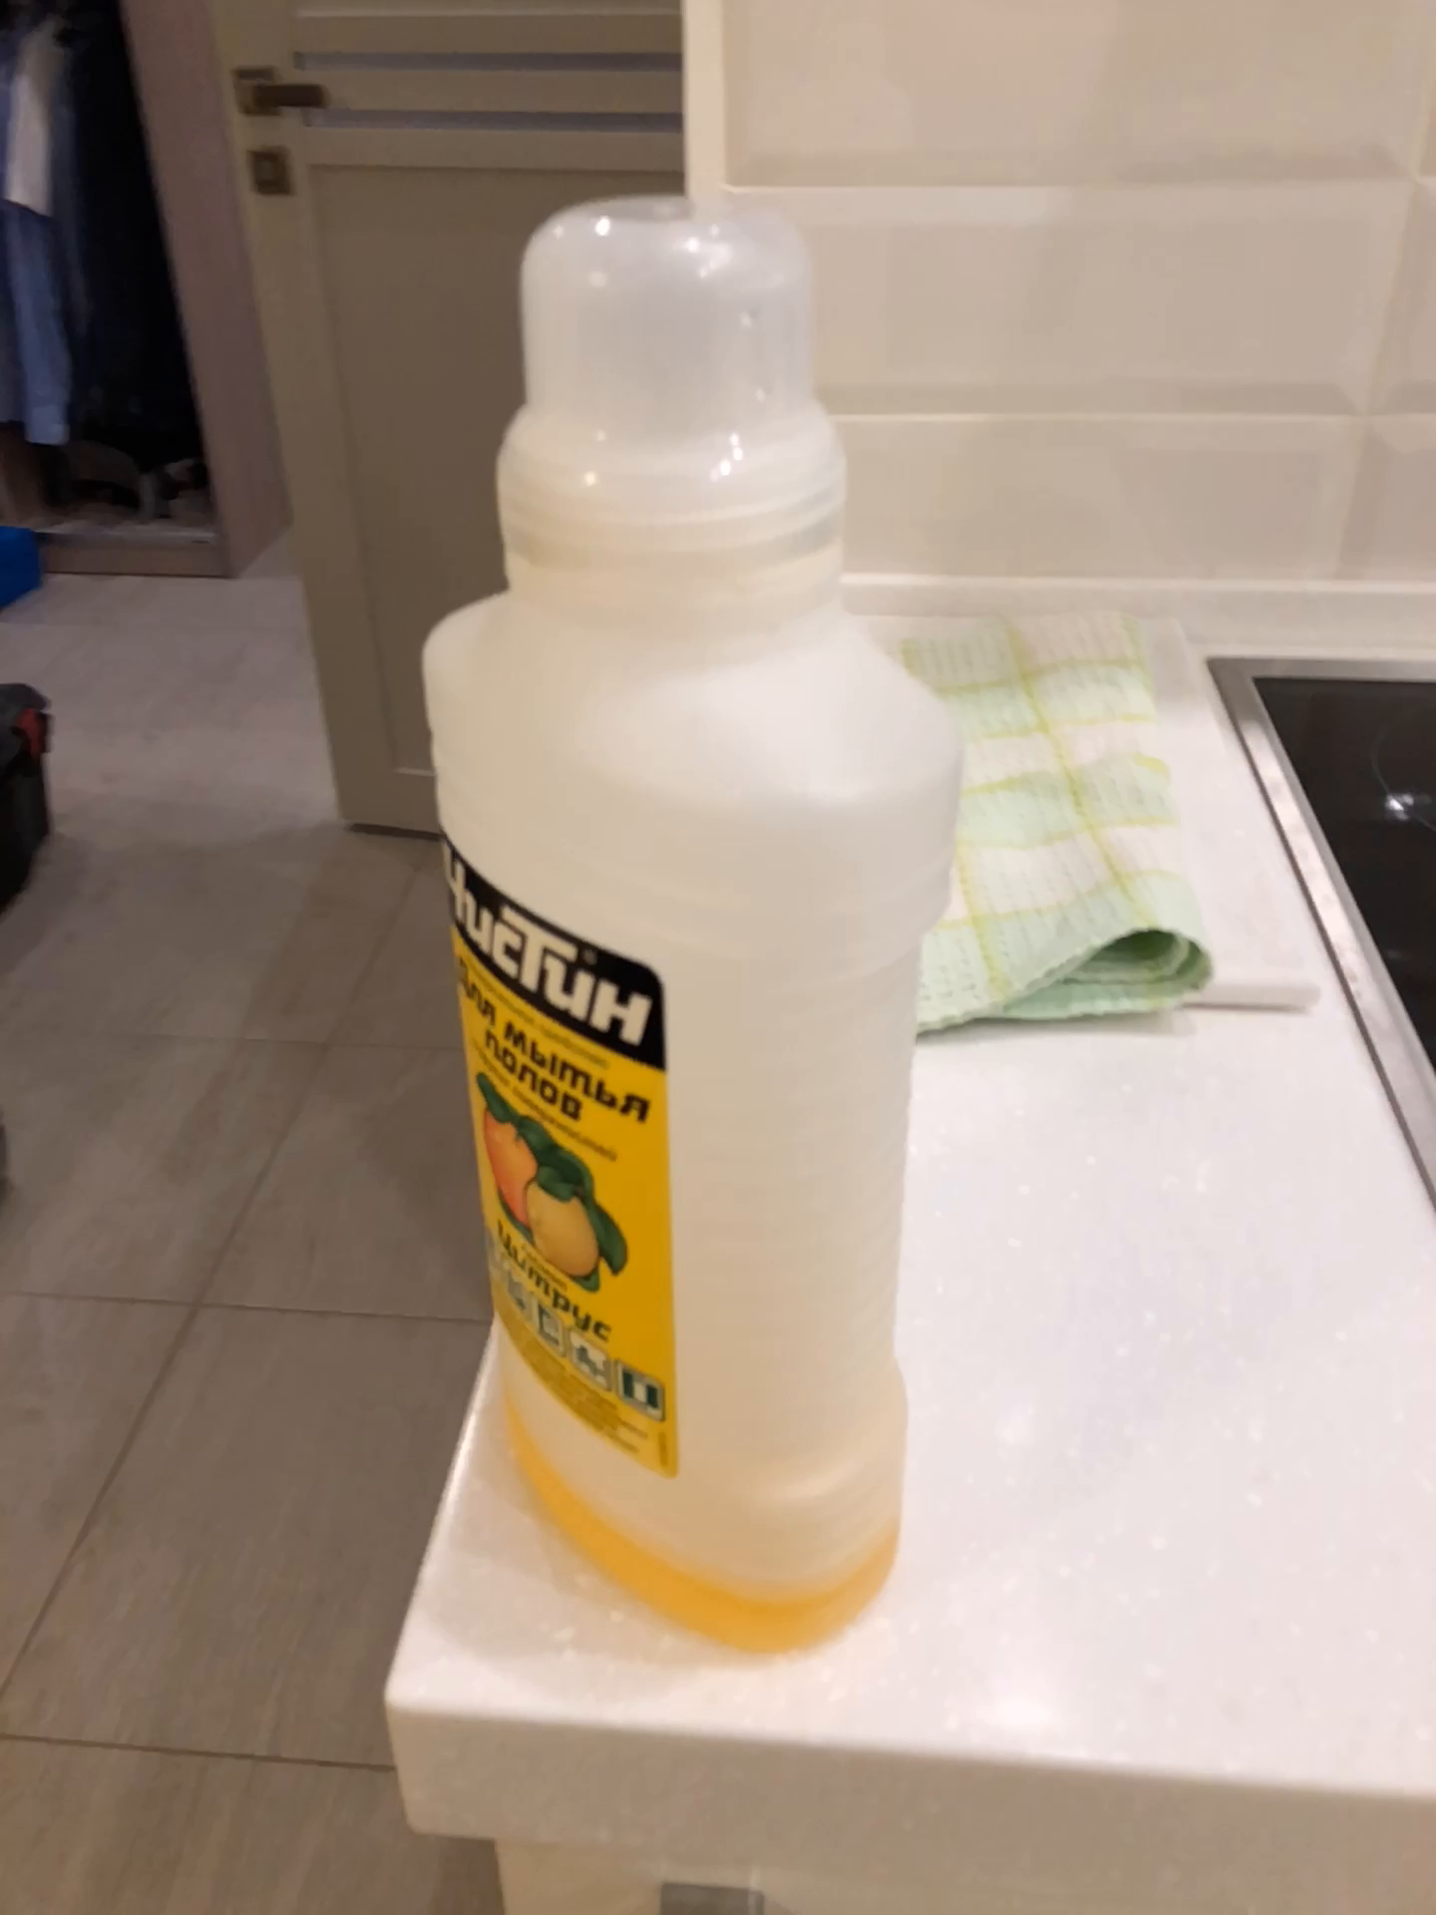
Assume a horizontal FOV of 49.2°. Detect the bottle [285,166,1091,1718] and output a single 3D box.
[{"bbox_3d":[-0.006,0.007,0.290,0.061,0.264,0.102,-26,40,-34],"label":"bottle"}]
